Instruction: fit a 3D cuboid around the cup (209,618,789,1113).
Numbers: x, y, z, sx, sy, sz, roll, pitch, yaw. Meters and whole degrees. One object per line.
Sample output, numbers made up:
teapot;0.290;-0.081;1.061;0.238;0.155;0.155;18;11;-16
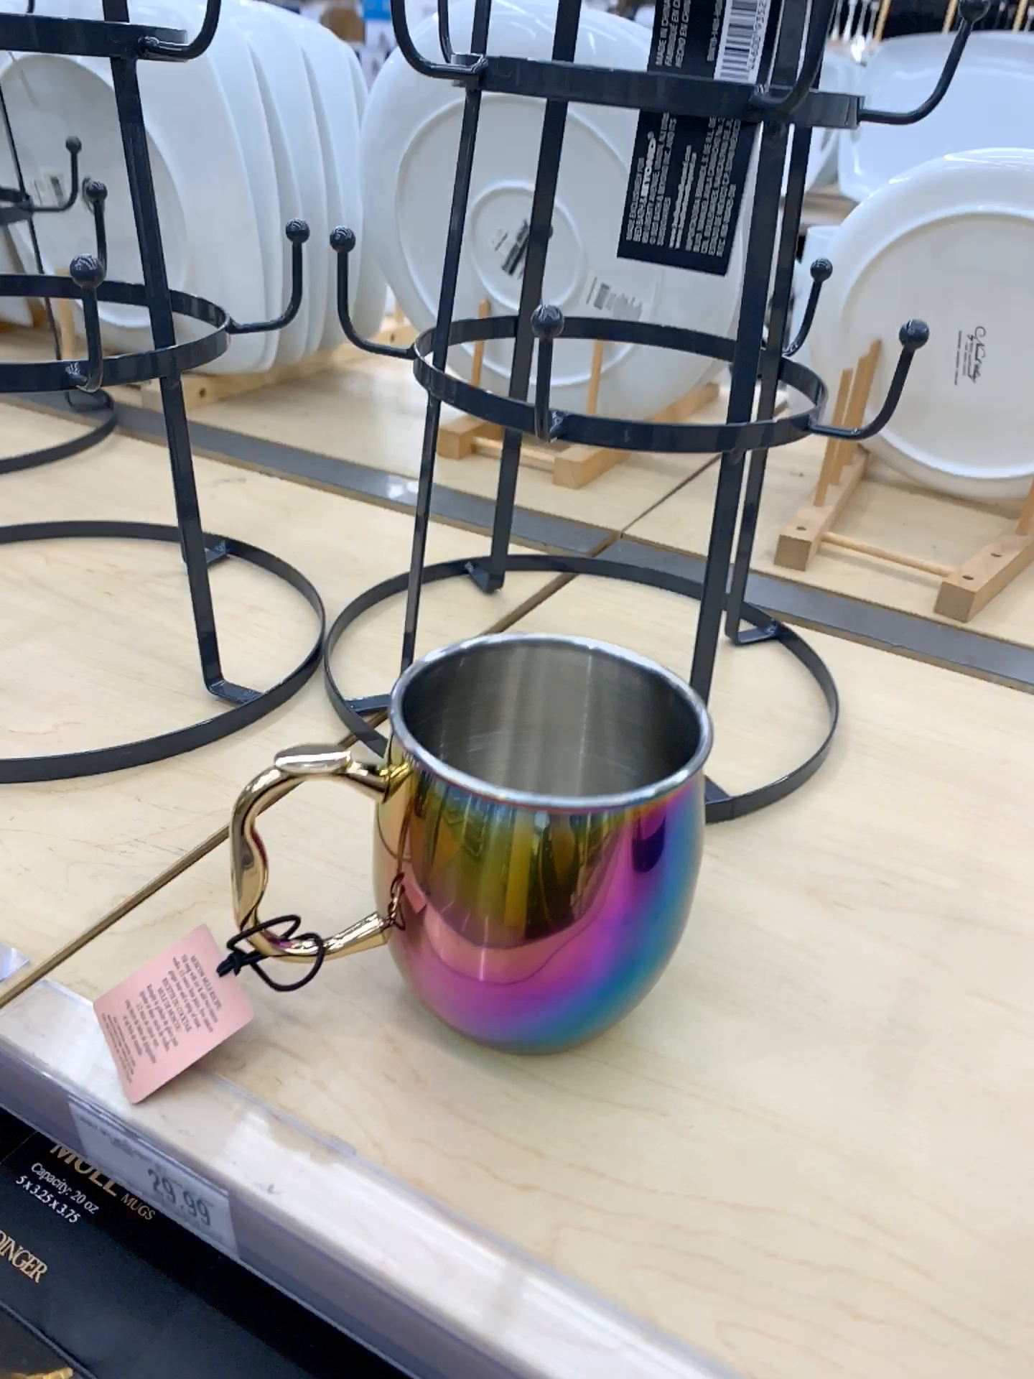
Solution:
cup;-0.012;0.042;0.293;0.130;0.089;0.085;-3;32;-12
